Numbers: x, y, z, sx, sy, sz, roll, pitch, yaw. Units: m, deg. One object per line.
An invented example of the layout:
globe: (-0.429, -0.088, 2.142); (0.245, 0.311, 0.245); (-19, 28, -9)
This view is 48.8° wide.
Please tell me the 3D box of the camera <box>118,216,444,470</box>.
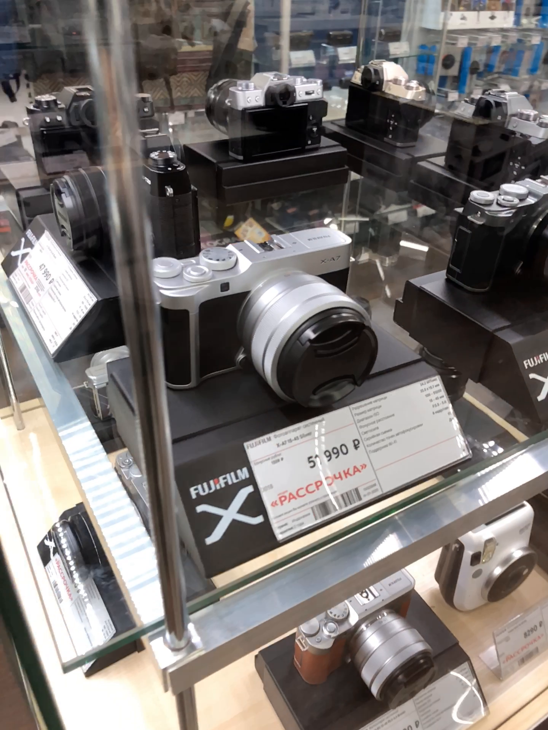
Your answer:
camera: (0.000, -0.021, 0.325); (0.133, 0.066, 0.100); (-17, 39, -26)
